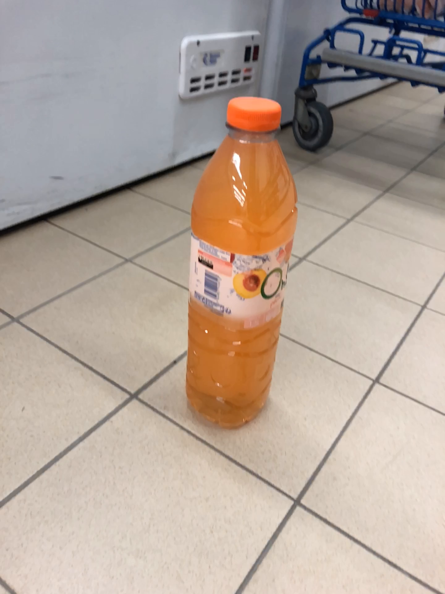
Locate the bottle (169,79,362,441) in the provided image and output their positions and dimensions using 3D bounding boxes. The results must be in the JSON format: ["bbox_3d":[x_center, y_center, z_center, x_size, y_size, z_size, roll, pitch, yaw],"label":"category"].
[{"bbox_3d":[0.026,-0.025,0.450,0.100,0.298,0.101,4,34,-3],"label":"bottle"}]
